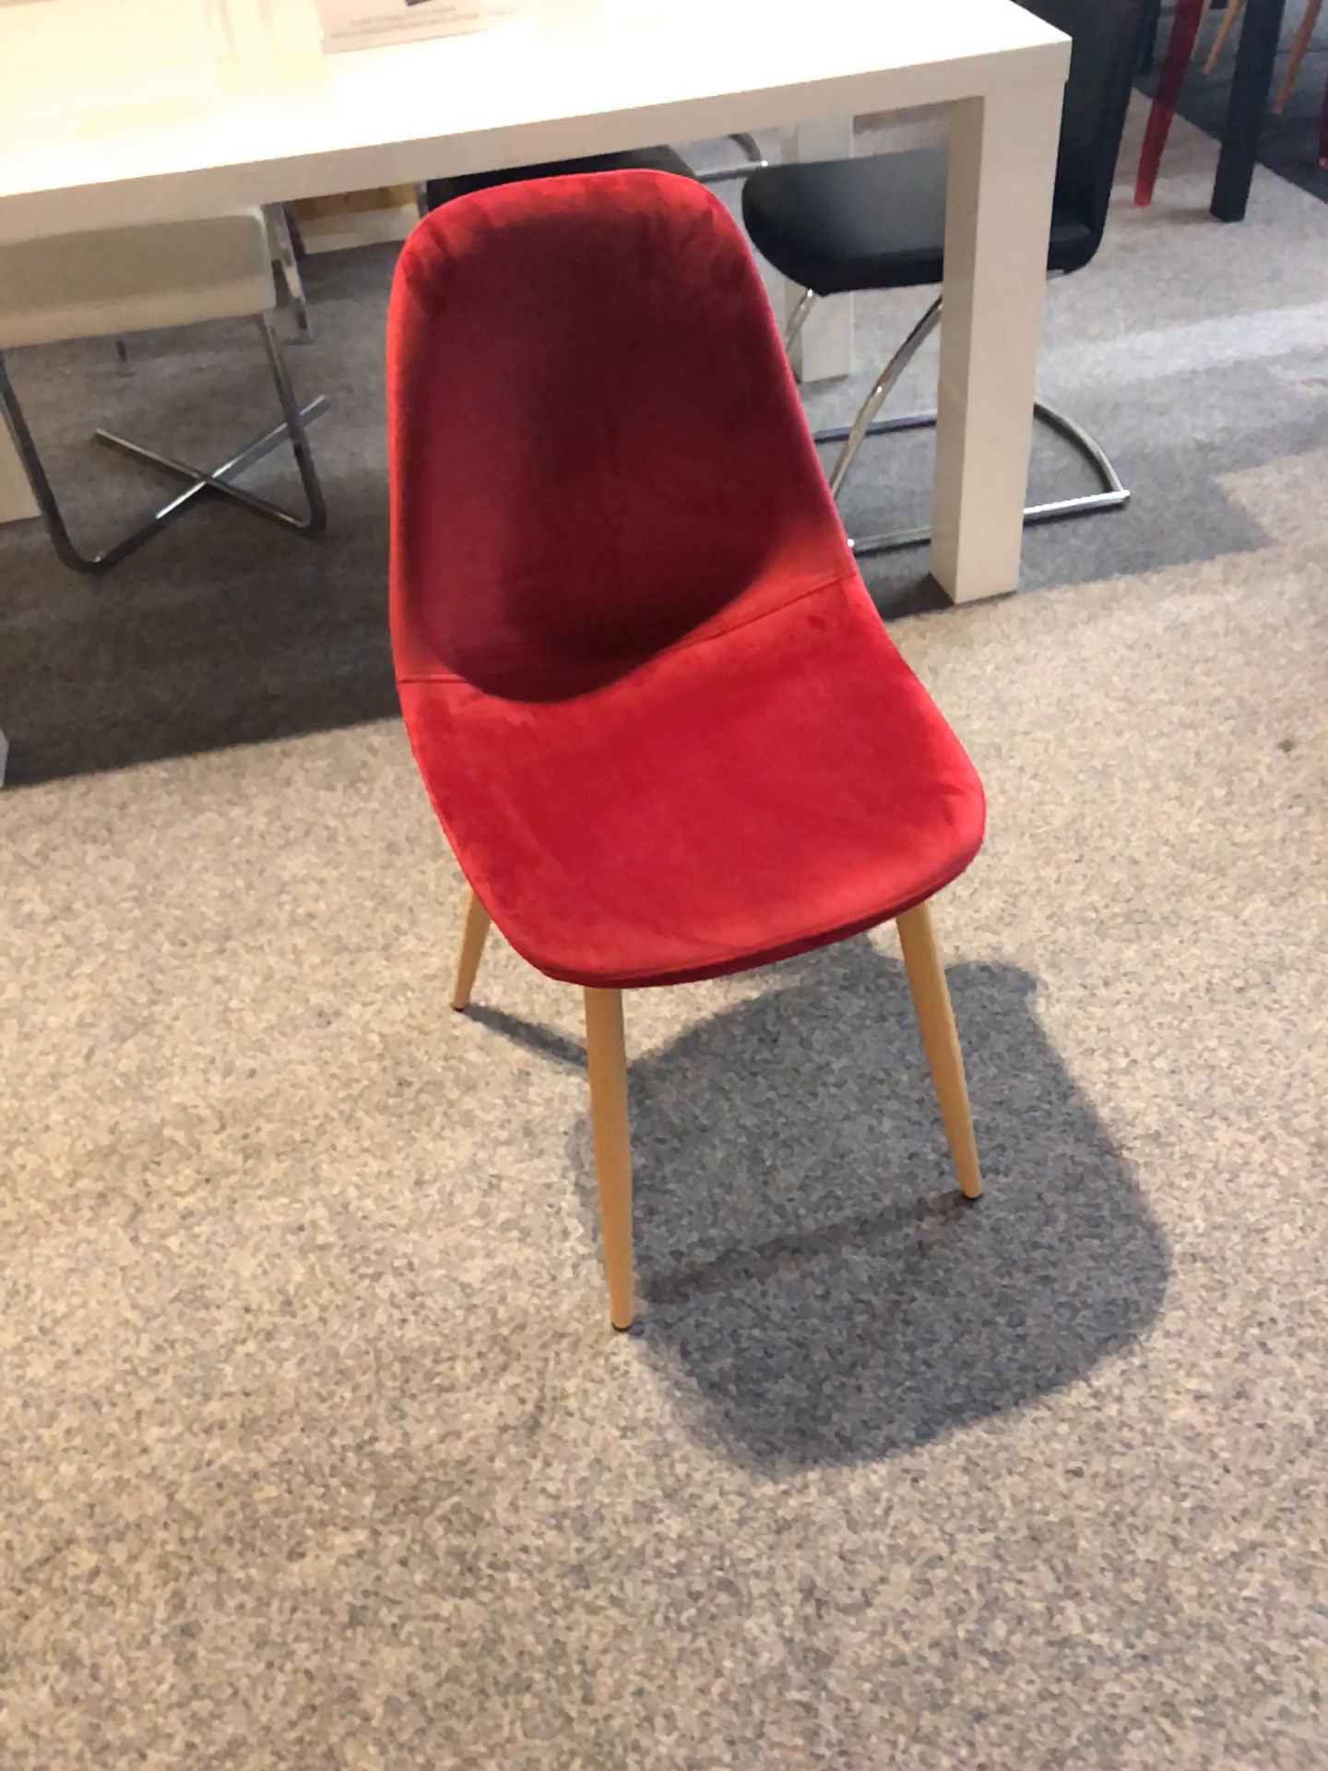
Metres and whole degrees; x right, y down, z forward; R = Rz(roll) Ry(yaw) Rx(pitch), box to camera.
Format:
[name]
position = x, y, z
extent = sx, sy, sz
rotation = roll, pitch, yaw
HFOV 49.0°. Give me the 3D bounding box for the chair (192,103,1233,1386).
[chair]
position = 0.010, -0.106, 1.241
extent = 0.531, 0.815, 0.552
rotation = -16, 44, -11
